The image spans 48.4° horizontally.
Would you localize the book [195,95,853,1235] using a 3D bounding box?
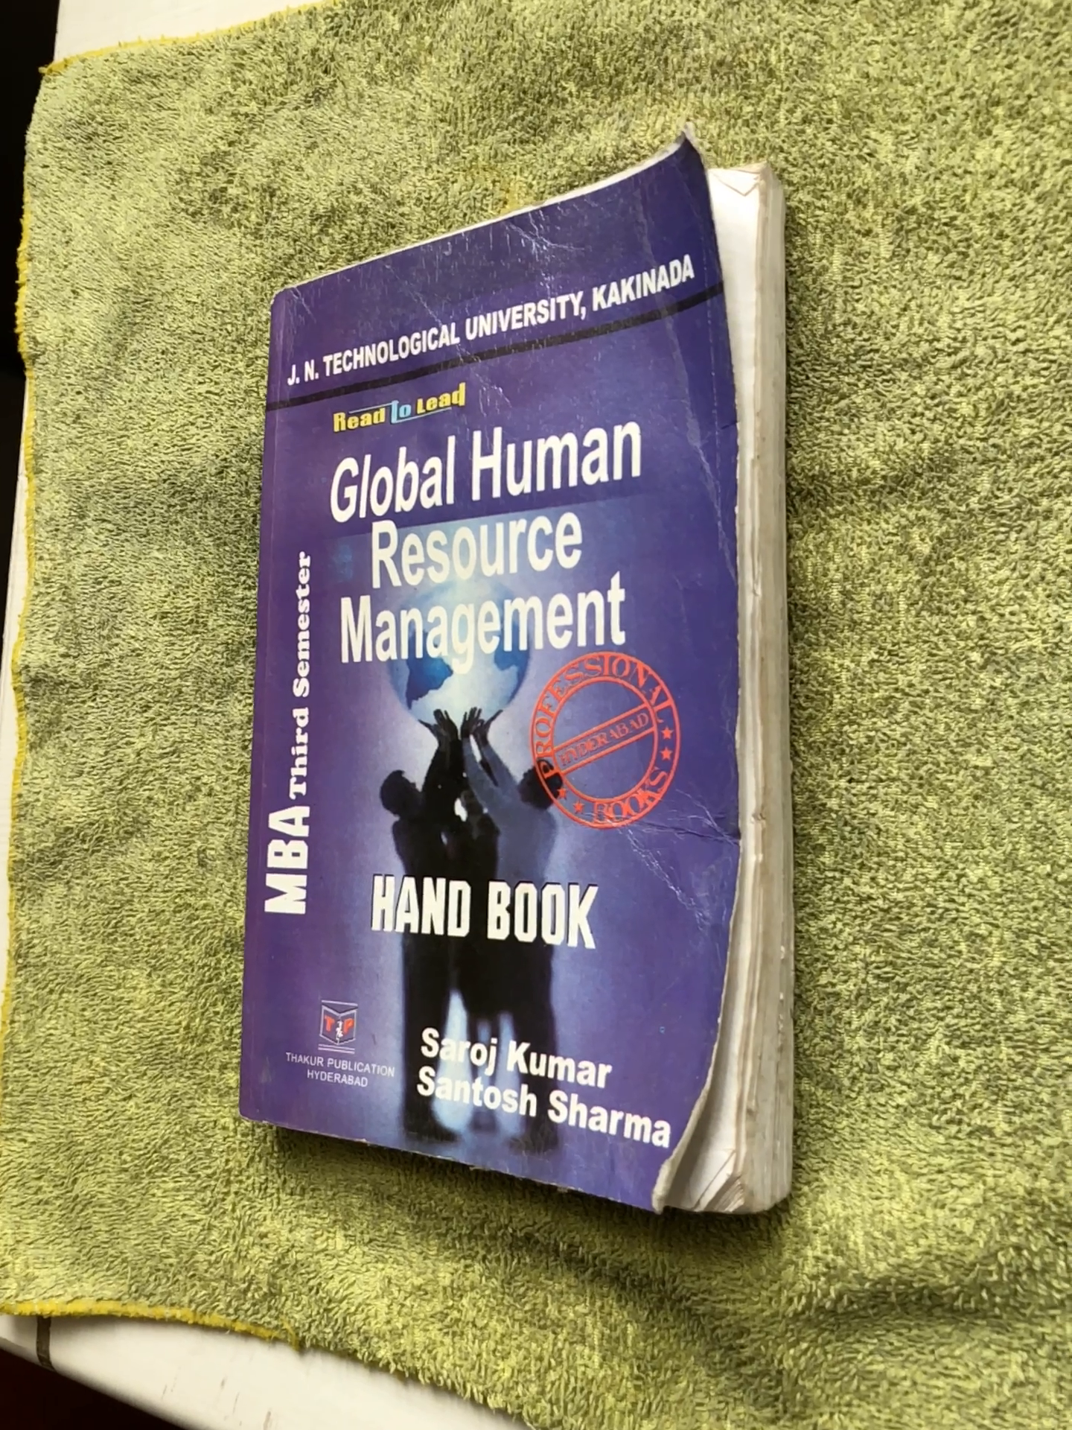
[{"bbox_3d":[-0.007,-0.008,0.262,0.140,0.040,0.200,-3,84,32],"label":"book"}]
